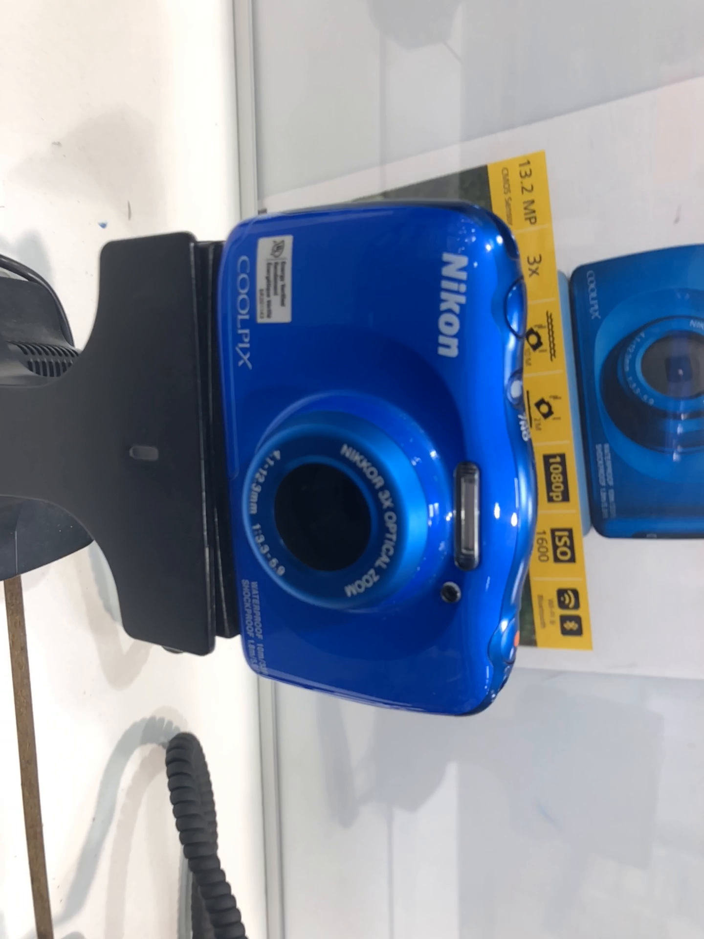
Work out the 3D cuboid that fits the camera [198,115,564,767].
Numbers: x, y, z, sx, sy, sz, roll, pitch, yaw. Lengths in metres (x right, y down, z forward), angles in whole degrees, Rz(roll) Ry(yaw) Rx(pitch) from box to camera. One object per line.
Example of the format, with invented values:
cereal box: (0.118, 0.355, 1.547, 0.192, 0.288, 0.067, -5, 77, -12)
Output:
camera: (0.010, -0.007, 0.193, 0.050, 0.070, 0.130, -19, 110, -60)
